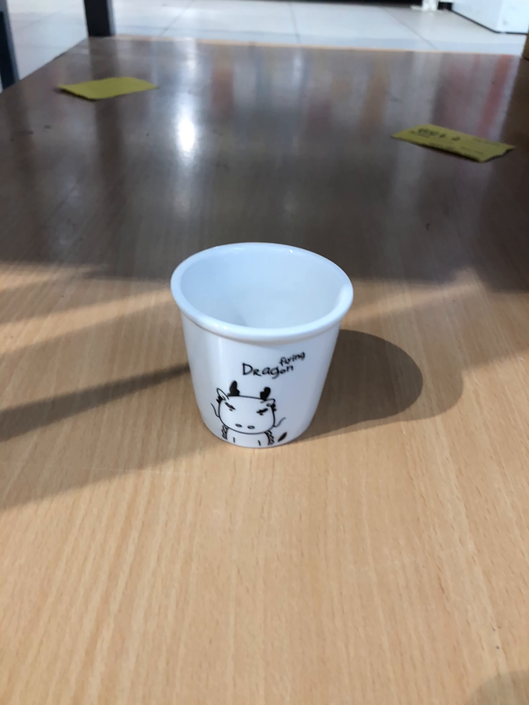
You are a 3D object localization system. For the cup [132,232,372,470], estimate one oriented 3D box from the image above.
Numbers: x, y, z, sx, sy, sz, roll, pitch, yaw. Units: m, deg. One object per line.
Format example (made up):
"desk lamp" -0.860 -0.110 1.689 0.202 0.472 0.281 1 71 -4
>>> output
"cup" -0.004 -0.004 0.247 0.080 0.060 0.081 2 36 -1
